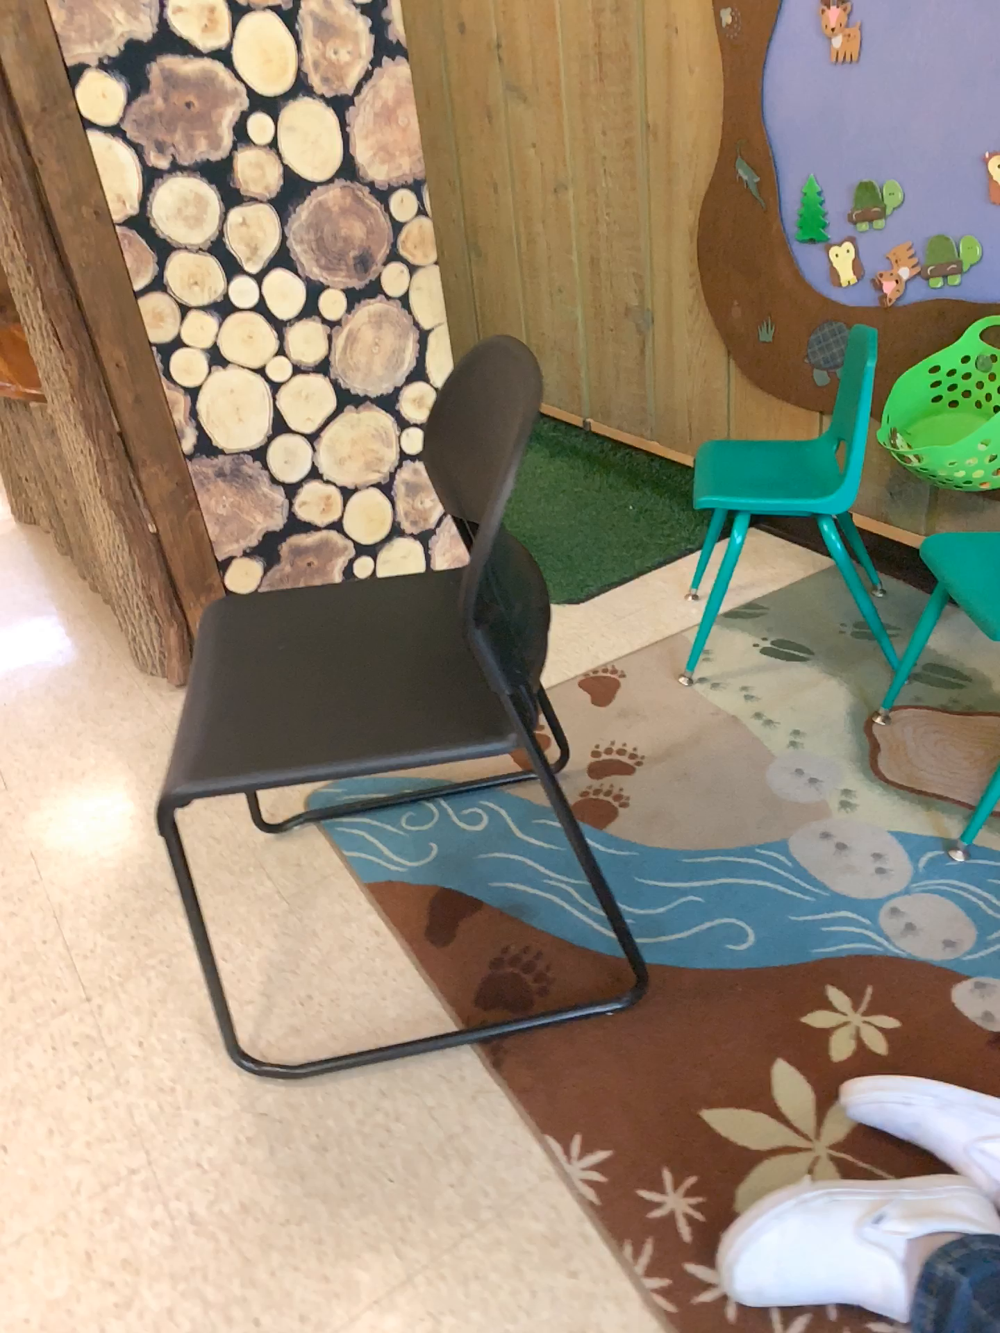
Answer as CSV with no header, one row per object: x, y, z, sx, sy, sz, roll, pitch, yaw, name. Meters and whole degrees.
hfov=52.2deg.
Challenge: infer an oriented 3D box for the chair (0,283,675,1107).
-0.144,0.010,1.321,0.570,0.785,0.594,-10,31,-4,chair
